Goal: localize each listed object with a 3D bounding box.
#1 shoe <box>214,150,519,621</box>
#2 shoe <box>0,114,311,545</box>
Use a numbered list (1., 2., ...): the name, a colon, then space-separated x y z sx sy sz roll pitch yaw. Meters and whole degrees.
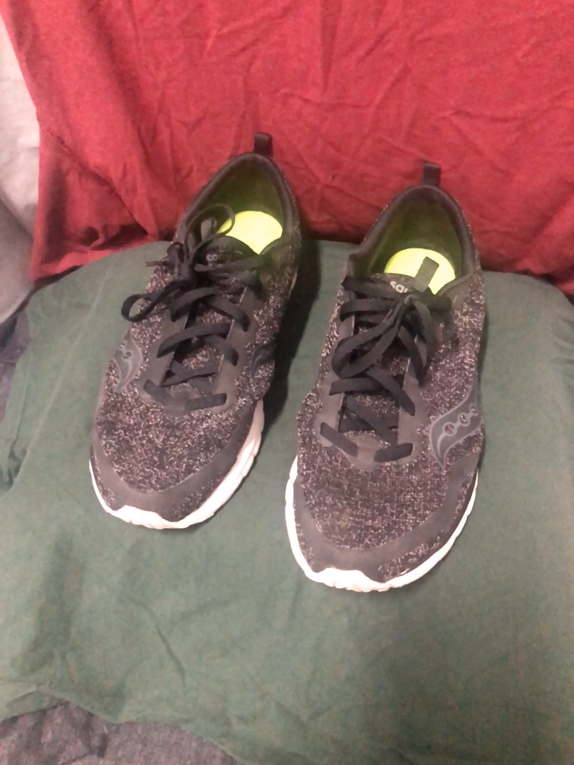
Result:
1. shoe: 0.061 -0.015 0.384 0.120 0.099 0.262 10 56 11
2. shoe: -0.072 -0.051 0.418 0.120 0.099 0.272 8 56 10
